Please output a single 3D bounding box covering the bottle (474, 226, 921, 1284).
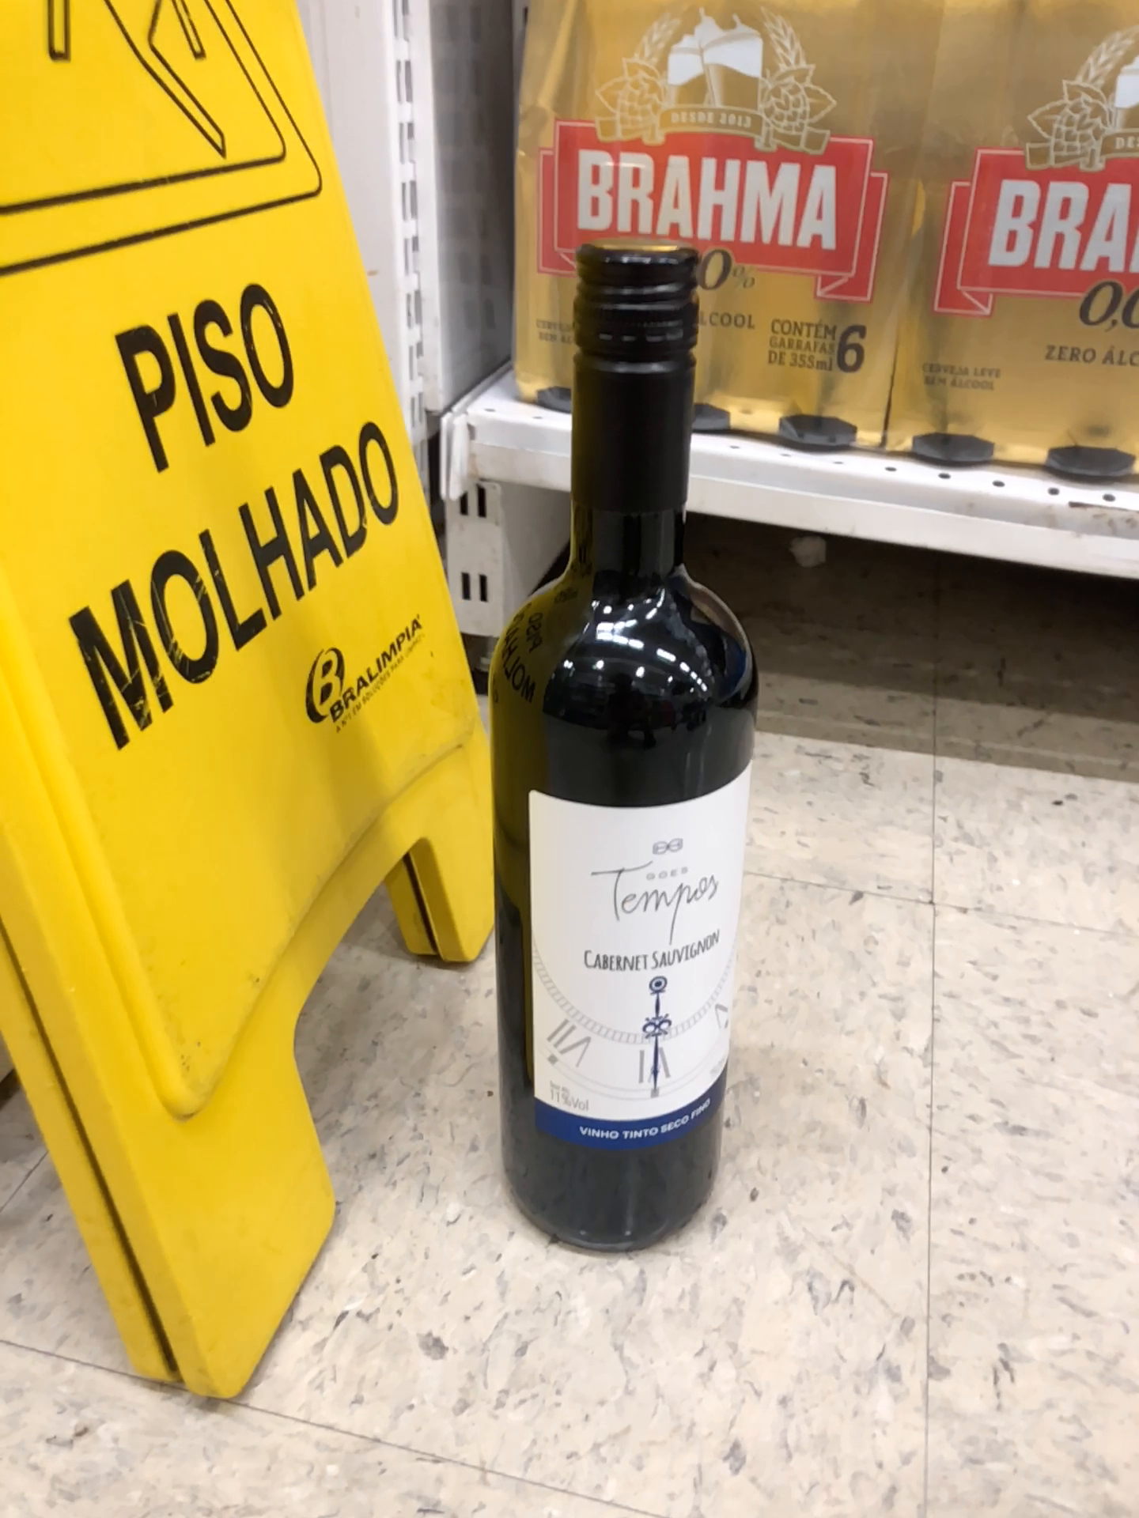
[{"bbox_3d":[0.023,0.012,0.351,0.080,0.288,0.071,-7,30,-14],"label":"bottle"}]
